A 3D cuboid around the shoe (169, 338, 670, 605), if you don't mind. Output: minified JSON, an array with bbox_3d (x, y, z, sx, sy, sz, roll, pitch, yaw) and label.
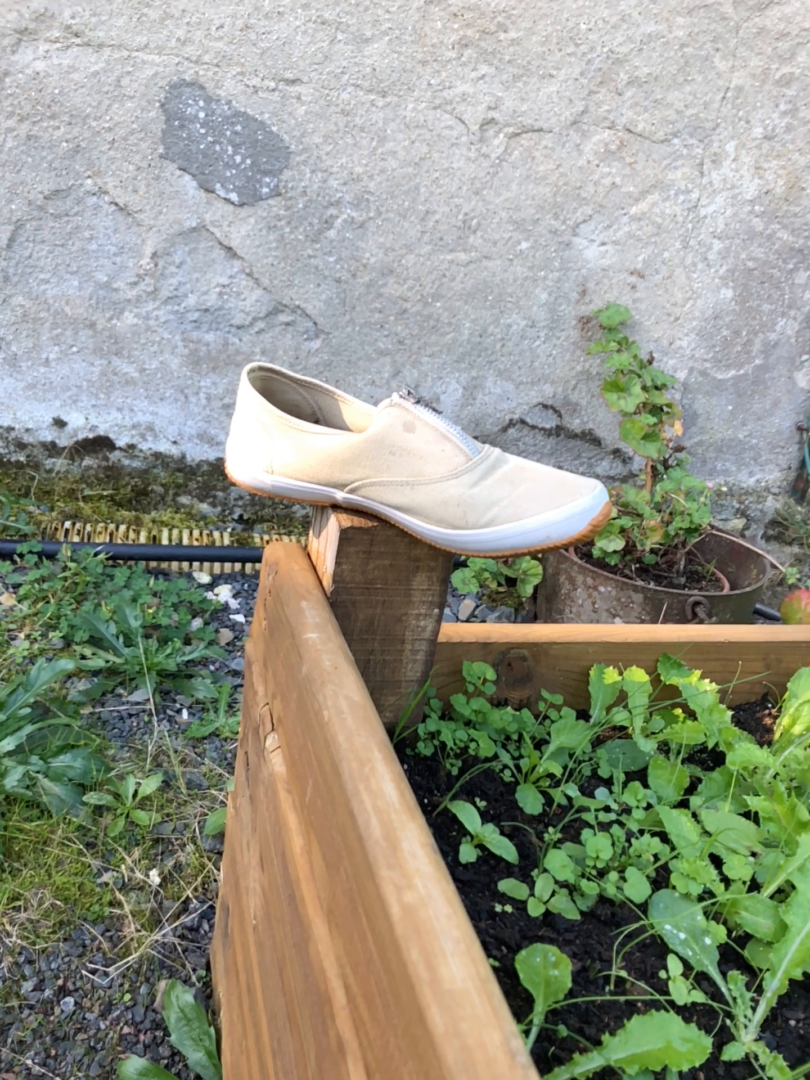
[{"bbox_3d":[0.002,-0.053,0.508,0.260,0.070,0.111,18,24,26],"label":"shoe"}]
